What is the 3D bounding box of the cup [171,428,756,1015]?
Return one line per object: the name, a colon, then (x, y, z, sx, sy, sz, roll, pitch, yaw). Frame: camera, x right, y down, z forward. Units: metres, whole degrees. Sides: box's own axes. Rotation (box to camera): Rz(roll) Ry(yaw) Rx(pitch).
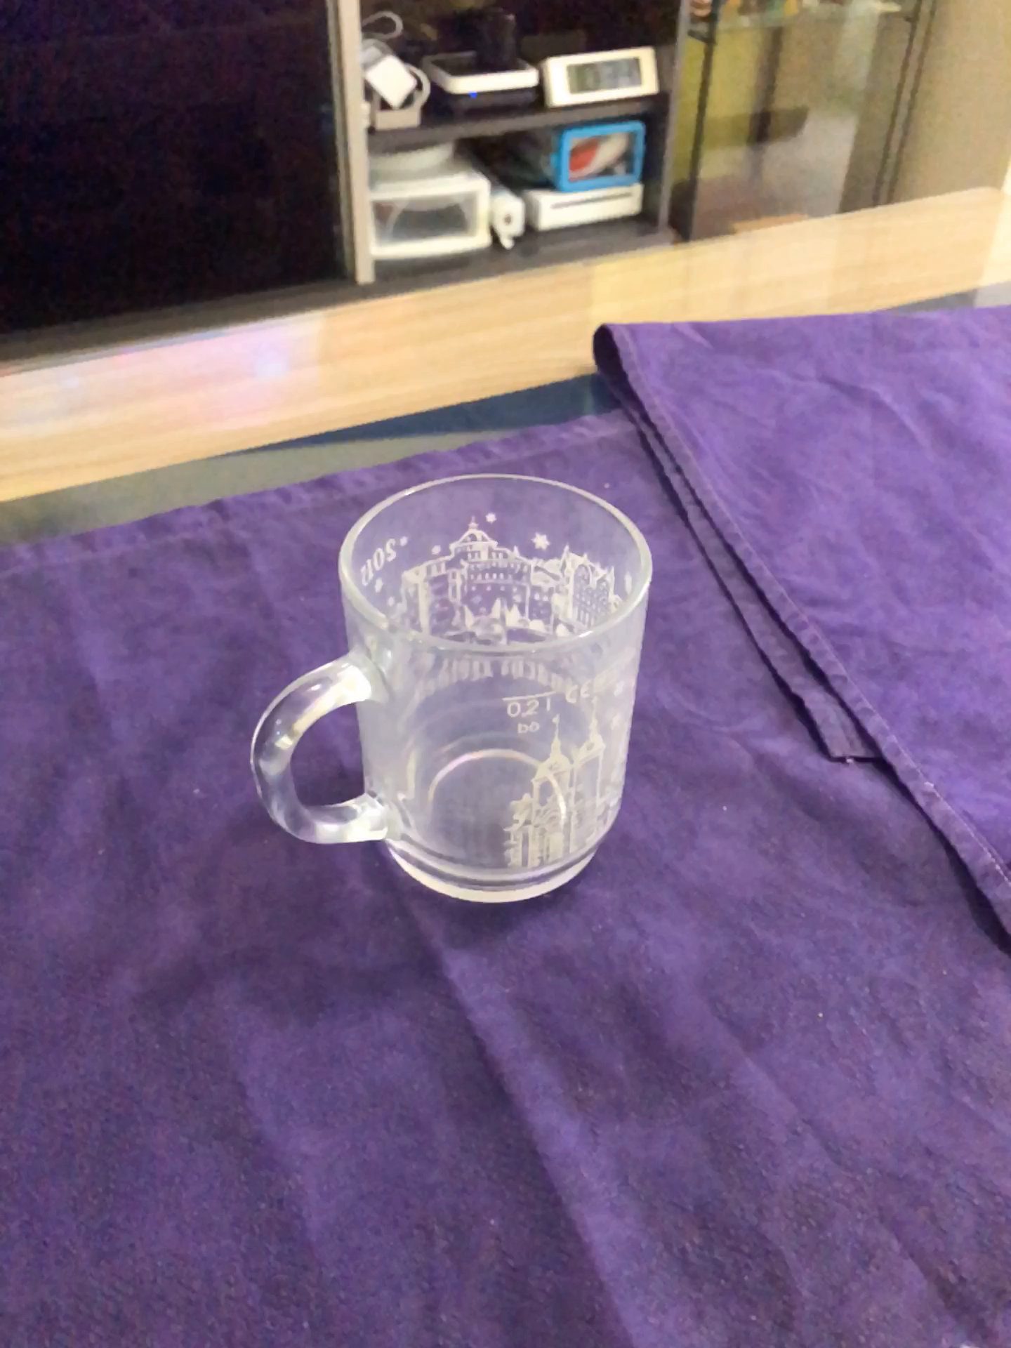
cup: (-0.009, 0.006, 0.261, 0.100, 0.080, 0.070, -23, 44, -25)
